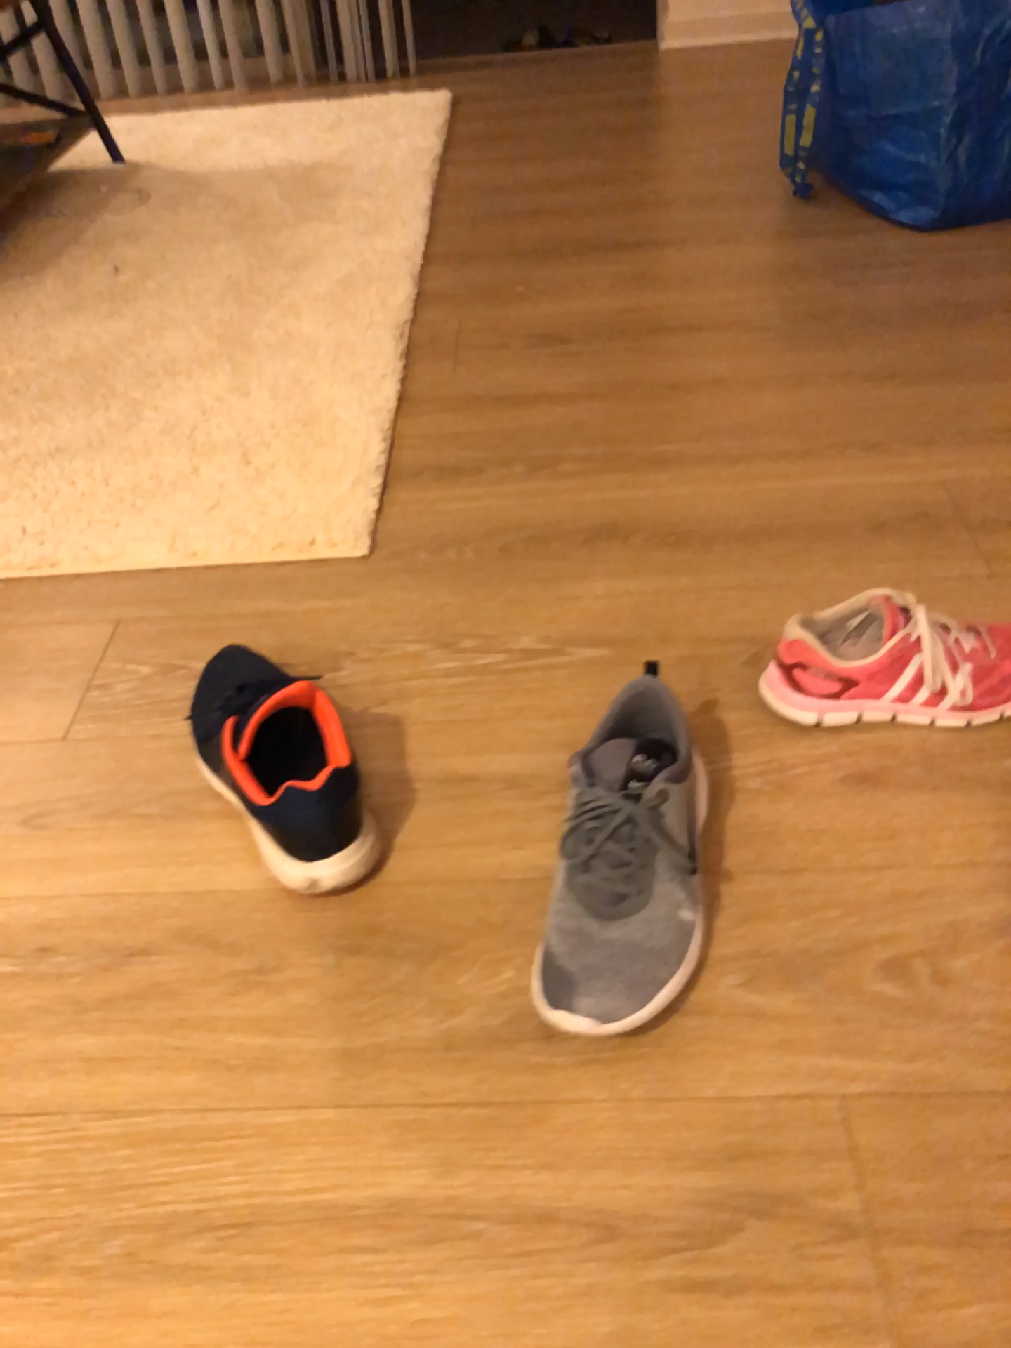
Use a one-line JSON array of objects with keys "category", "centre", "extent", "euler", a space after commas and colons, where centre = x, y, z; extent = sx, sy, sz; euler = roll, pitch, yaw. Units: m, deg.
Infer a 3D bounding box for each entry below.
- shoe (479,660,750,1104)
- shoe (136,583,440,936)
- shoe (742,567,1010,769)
[{"category": "shoe", "centre": [0.095, 0.136, 0.838], "extent": [0.130, 0.099, 0.322], "euler": [7, 41, 16]}, {"category": "shoe", "centre": [-0.196, 0.058, 0.972], "extent": [0.130, 0.099, 0.322], "euler": [-24, 43, -21]}, {"category": "shoe", "centre": [0.369, -0.007, 1.007], "extent": [0.280, 0.099, 0.121], "euler": [-6, 39, 0]}]
